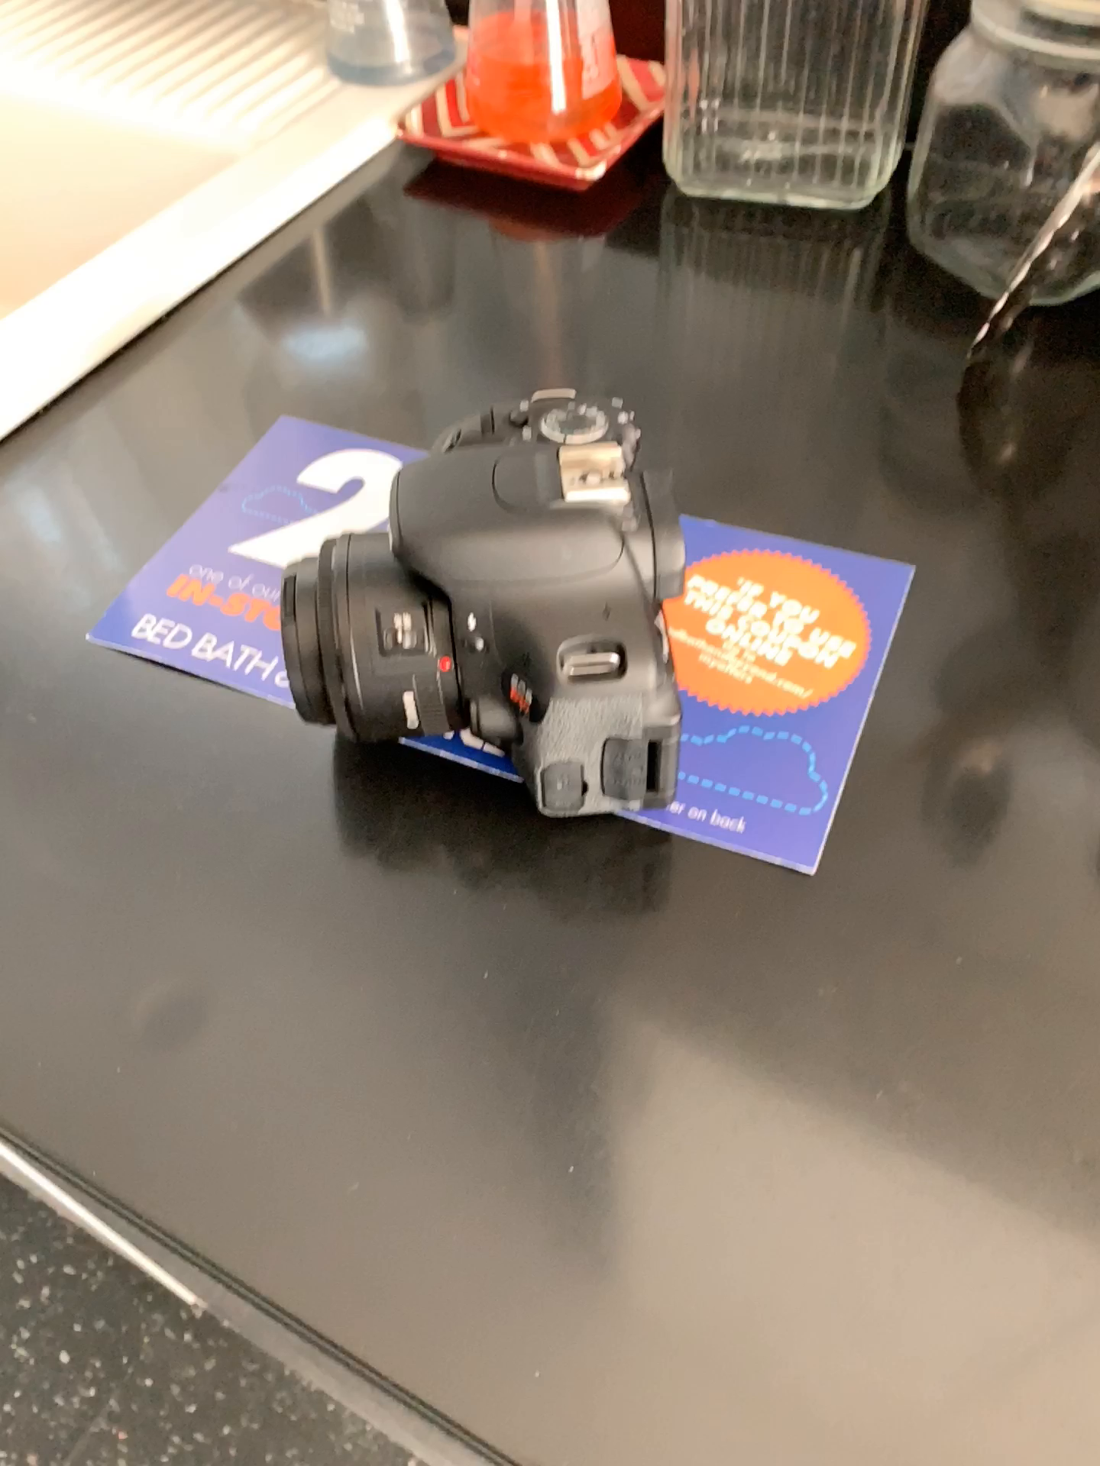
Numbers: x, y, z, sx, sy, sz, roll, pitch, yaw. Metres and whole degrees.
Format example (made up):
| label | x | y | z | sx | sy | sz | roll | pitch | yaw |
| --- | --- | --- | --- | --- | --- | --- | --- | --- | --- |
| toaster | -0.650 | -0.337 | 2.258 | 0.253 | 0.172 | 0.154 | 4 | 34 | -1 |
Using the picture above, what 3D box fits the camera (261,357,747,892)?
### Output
| label | x | y | z | sx | sy | sz | roll | pitch | yaw |
| --- | --- | --- | --- | --- | --- | --- | --- | --- | --- |
| camera | -0.016 | -0.037 | 0.365 | 0.124 | 0.085 | 0.141 | -5 | 52 | -1 |
